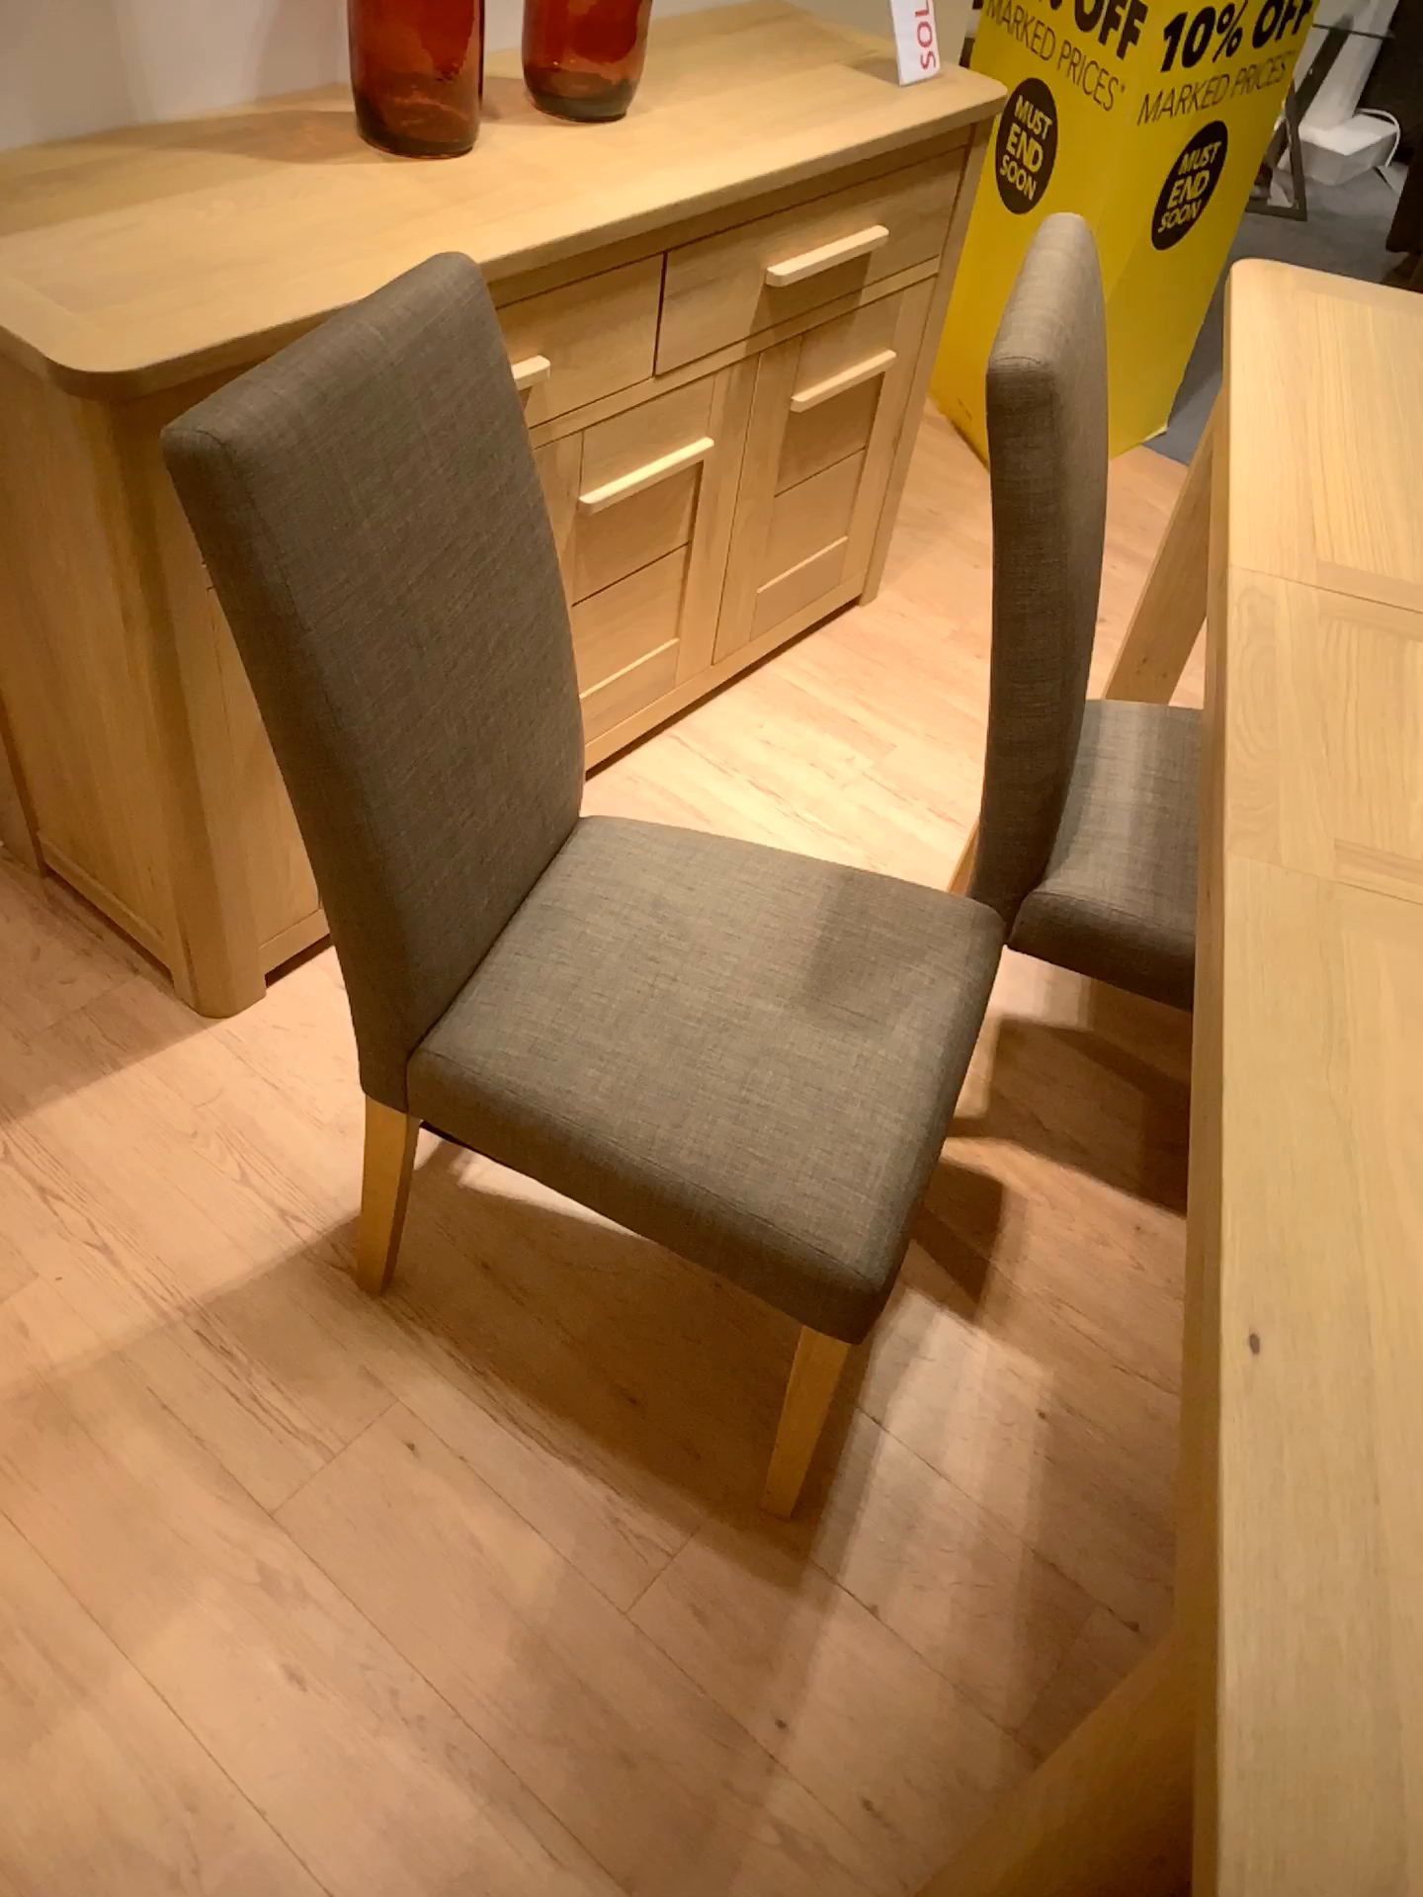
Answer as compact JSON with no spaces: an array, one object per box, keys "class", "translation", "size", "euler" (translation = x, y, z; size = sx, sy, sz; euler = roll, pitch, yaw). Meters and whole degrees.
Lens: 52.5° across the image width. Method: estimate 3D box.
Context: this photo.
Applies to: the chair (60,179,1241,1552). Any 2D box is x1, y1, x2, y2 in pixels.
[{"class":"chair","translation":[-0.051,-0.017,1.258],"size":[0.611,0.951,0.494],"euler":[21,46,10]}]
